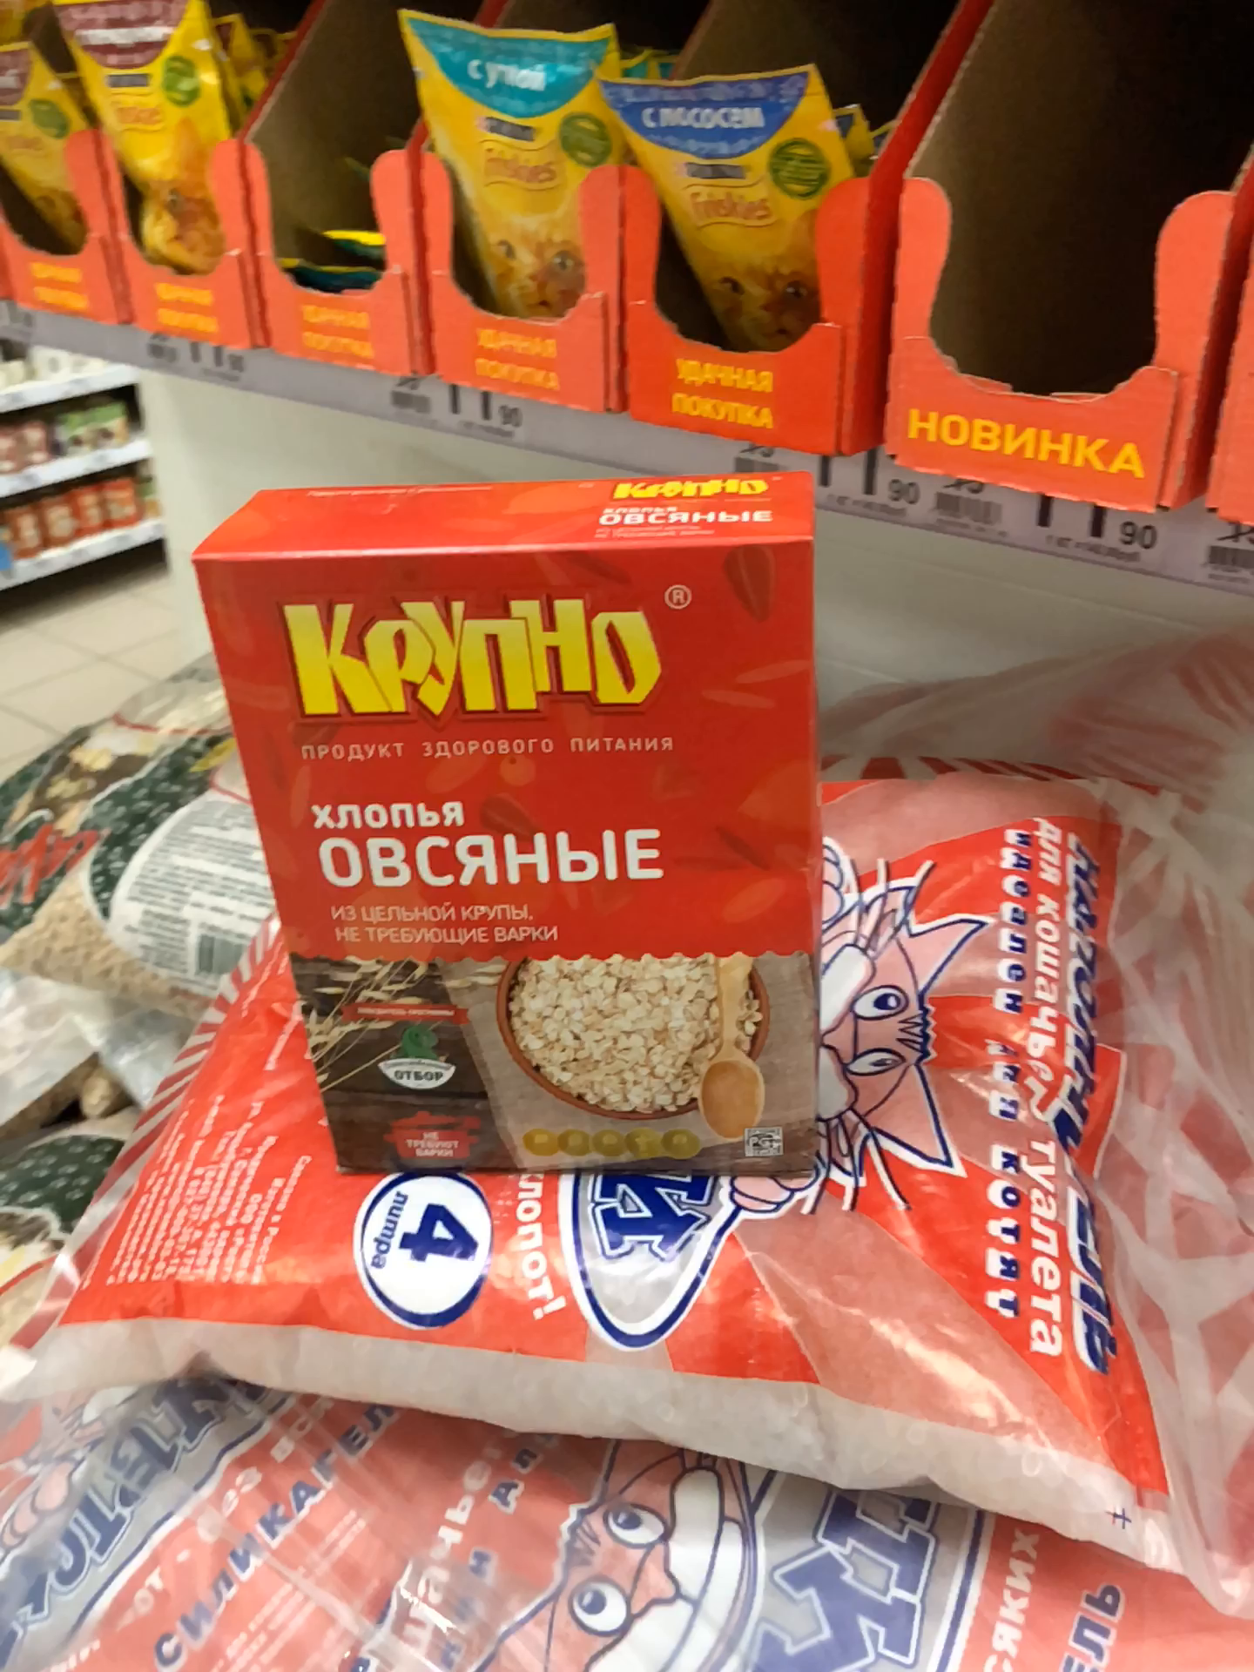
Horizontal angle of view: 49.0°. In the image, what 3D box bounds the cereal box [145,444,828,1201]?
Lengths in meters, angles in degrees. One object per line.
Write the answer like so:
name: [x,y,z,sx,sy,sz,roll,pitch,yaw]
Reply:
cereal box: [-0.025,0.003,0.375,0.150,0.199,0.060,1,31,6]
